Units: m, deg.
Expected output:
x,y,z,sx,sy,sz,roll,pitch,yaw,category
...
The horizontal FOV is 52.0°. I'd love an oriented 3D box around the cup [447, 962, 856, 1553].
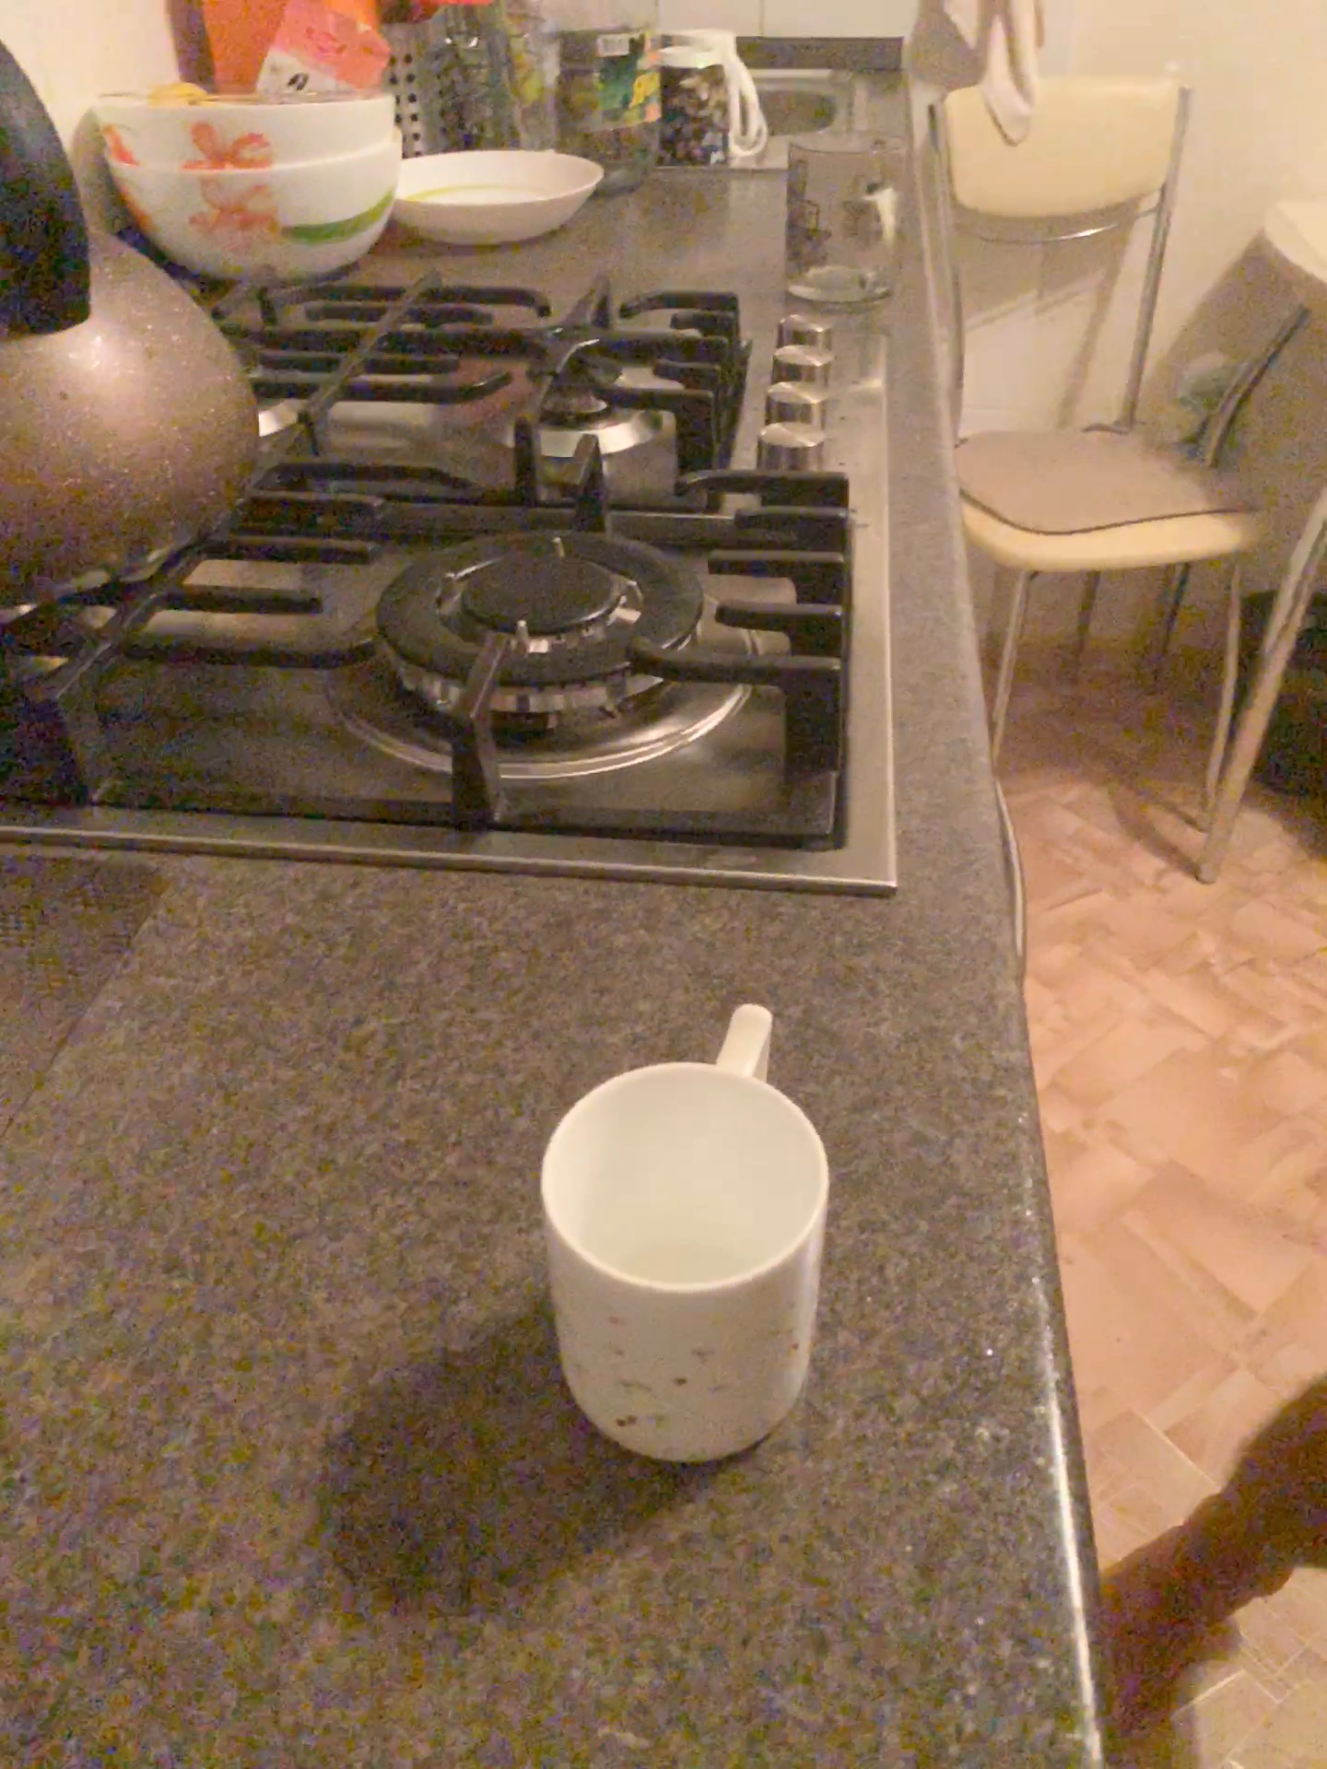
x,y,z,sx,sy,sz,roll,pitch,yaw,category
0.002,0.077,0.297,0.060,0.069,0.091,9,39,13,cup
